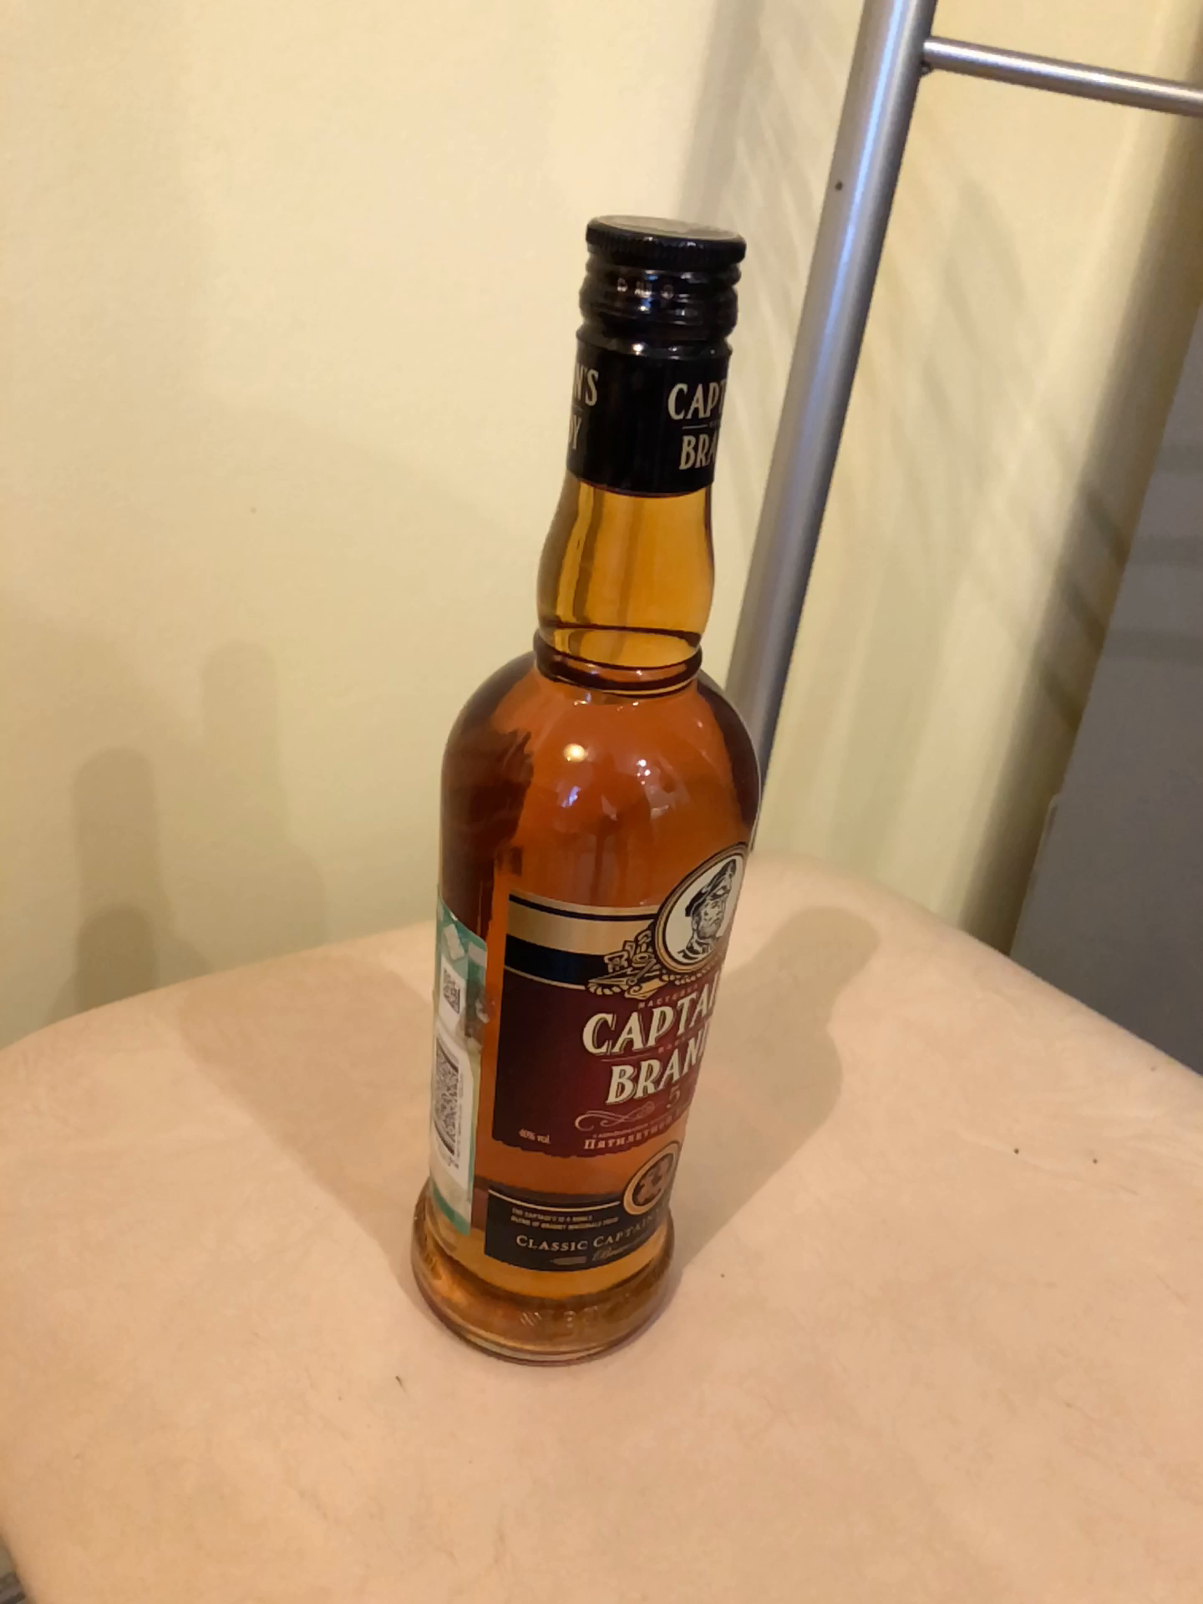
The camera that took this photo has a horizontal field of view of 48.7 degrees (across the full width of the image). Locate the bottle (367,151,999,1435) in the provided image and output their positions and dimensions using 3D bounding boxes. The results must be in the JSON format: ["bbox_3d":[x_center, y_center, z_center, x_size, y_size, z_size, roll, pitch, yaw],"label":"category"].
[{"bbox_3d":[0.004,0.008,0.286,0.070,0.258,0.080,29,38,34],"label":"bottle"}]
